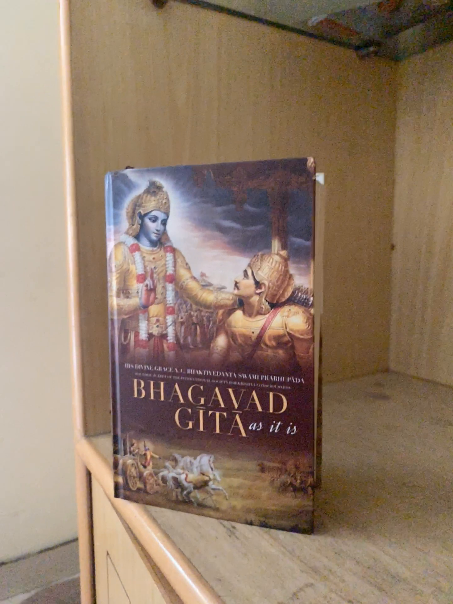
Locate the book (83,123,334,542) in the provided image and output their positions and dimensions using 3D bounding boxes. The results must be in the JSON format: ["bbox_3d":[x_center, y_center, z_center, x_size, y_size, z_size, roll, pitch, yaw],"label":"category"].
[{"bbox_3d":[-0.009,0.014,0.304,0.140,0.220,0.070,2,5,20],"label":"book"}]
